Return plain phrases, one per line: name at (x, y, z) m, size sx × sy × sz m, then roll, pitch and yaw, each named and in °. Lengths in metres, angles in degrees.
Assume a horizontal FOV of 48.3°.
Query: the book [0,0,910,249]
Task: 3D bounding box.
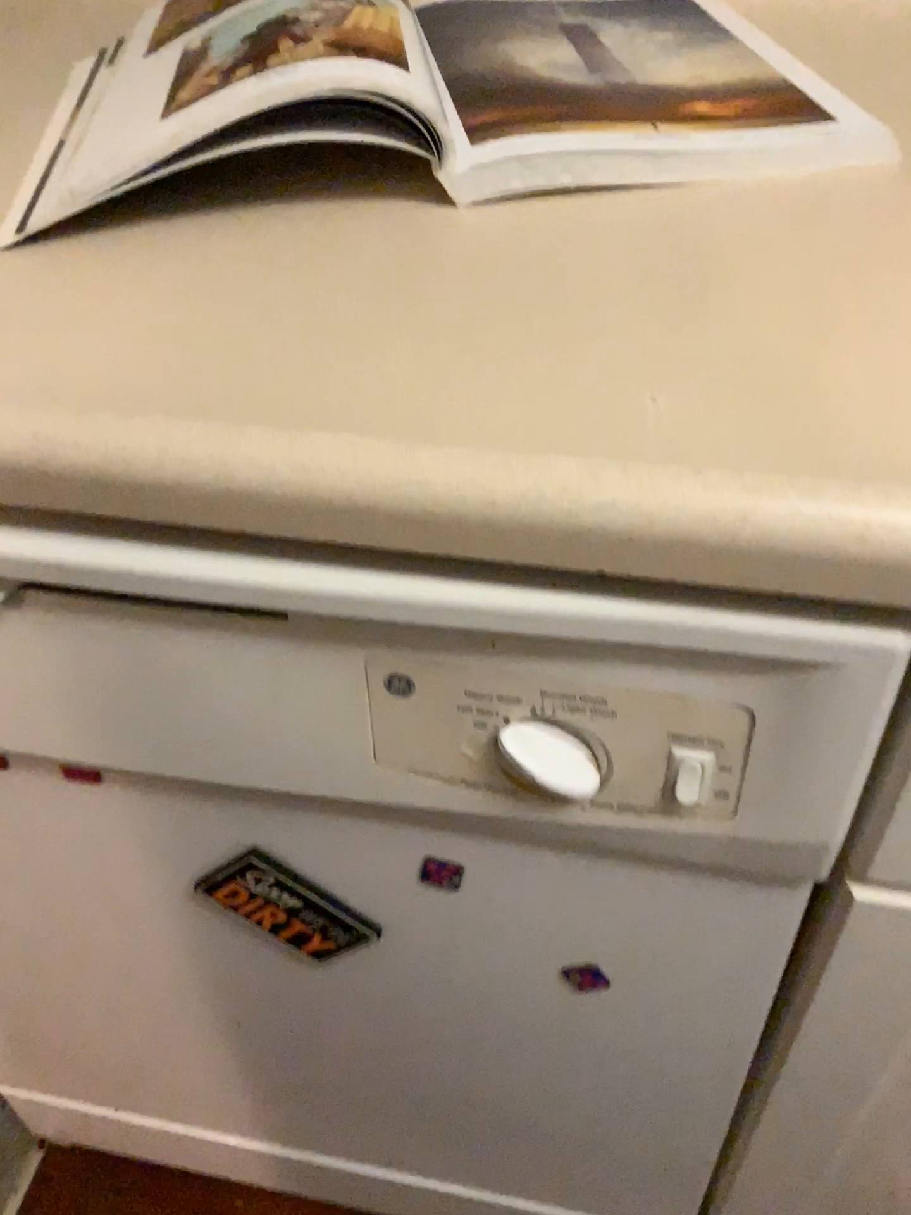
book at (-0.012, -0.327, 0.581) m, size 0.450 × 0.070 × 0.320 m, roll -7°, pitch 43°, yaw -4°
